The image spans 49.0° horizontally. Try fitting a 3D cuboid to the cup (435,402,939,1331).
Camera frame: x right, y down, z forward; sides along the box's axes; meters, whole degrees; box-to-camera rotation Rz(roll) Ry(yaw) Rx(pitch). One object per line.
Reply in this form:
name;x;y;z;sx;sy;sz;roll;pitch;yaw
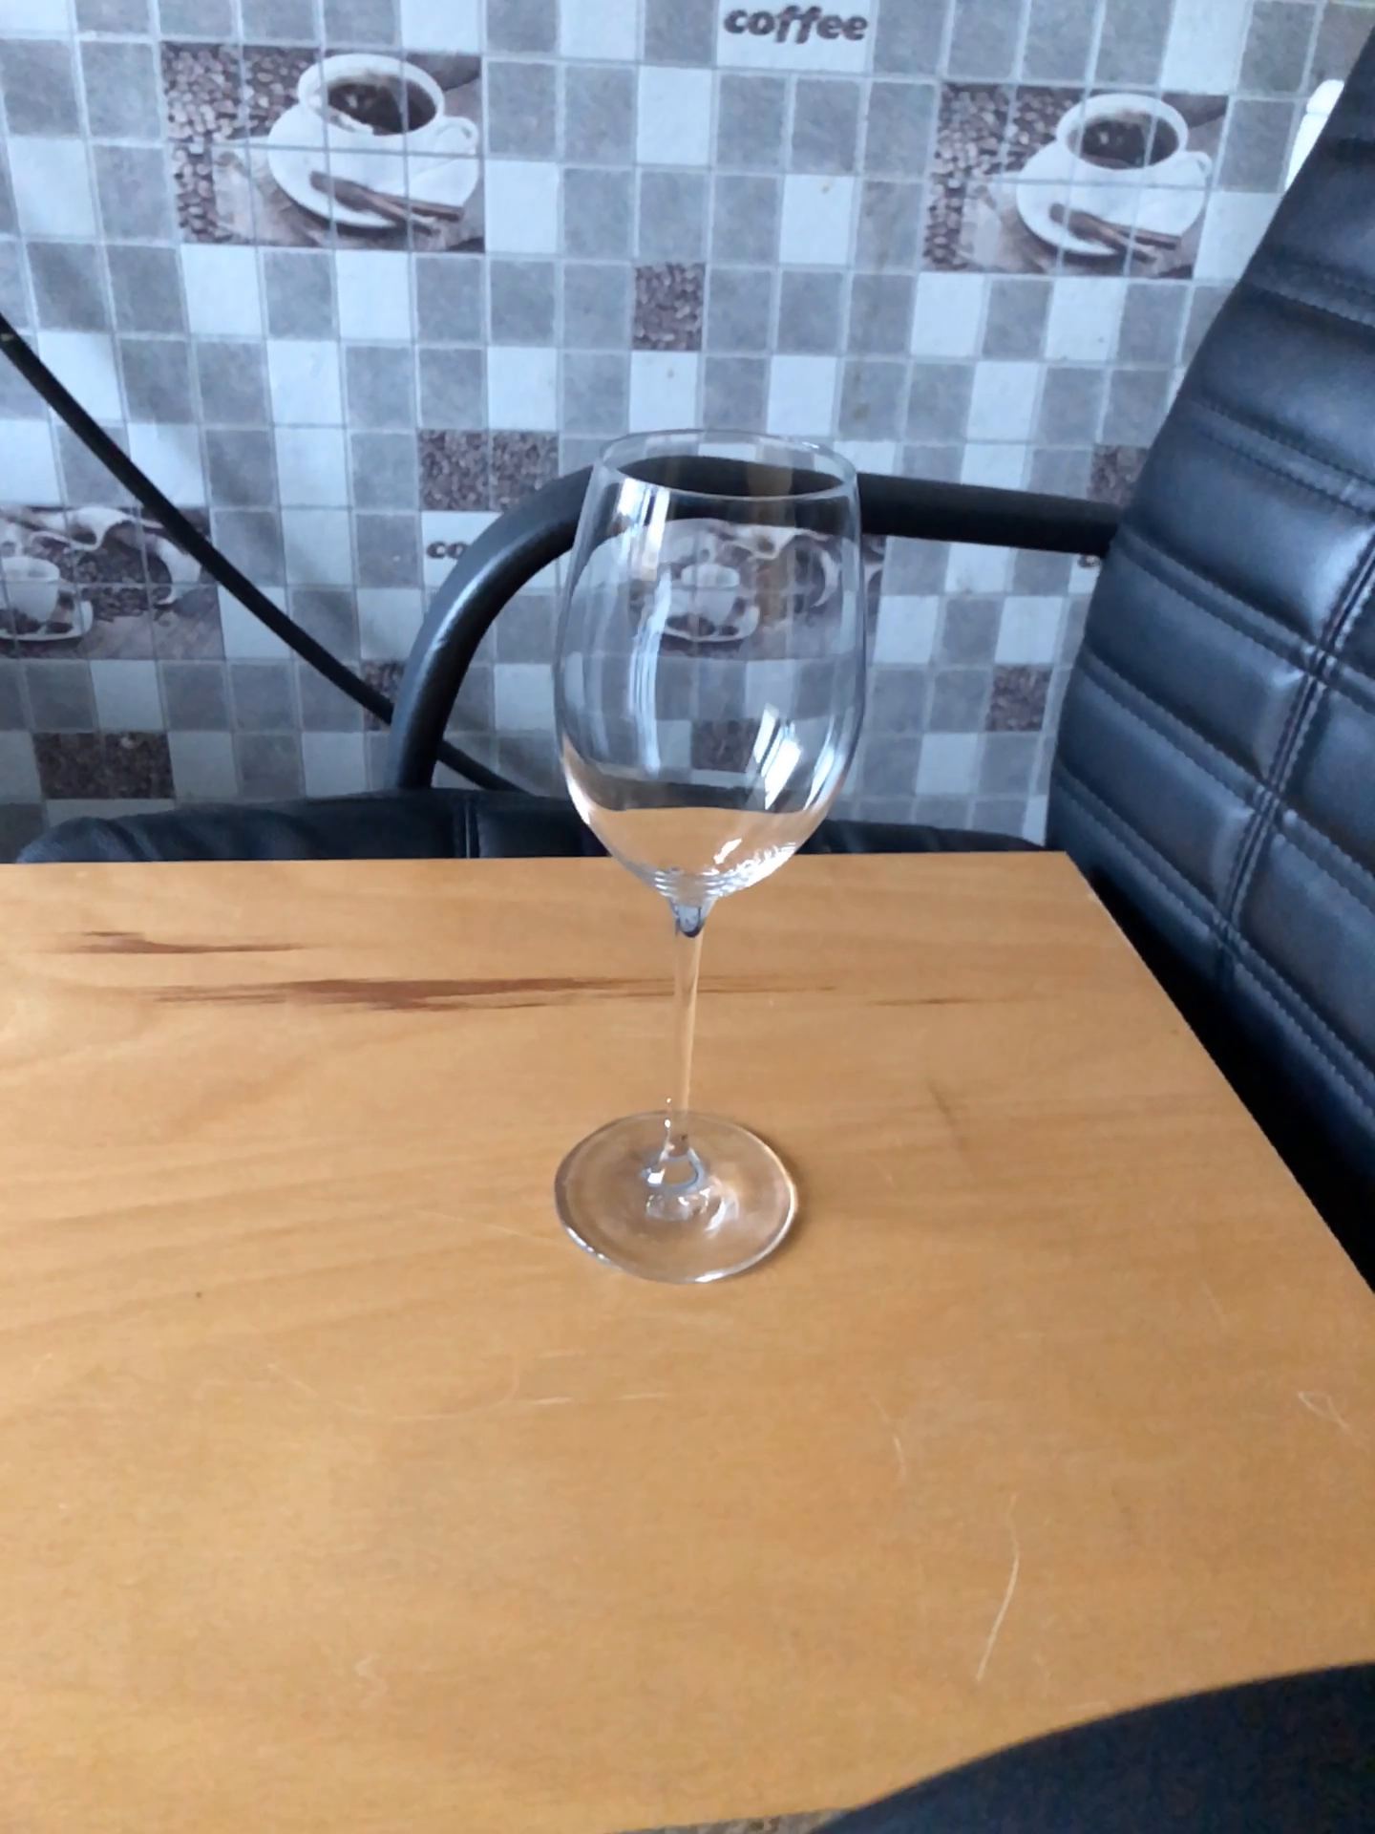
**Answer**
cup;-0.002;-0.012;0.408;0.089;0.218;0.090;2;30;-1
